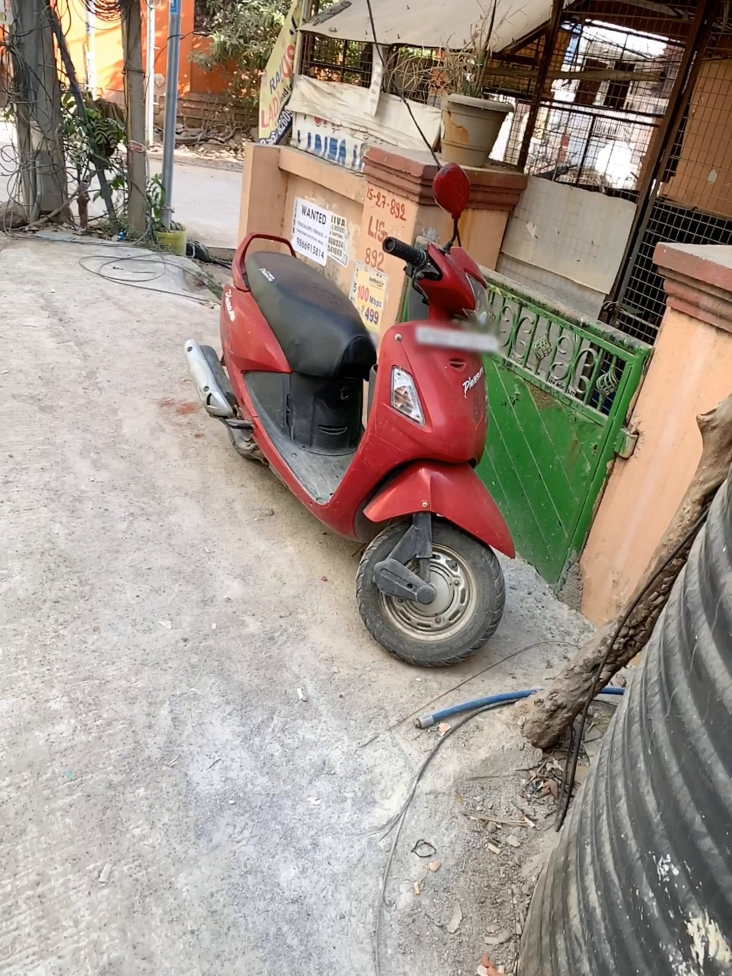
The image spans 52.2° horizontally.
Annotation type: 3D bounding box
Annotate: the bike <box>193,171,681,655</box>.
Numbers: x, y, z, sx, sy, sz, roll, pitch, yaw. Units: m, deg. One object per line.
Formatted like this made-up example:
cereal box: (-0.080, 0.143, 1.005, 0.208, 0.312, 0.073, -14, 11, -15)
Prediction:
bike: (0.068, -0.326, 2.282, 0.619, 0.916, 1.275, -13, 36, -36)
